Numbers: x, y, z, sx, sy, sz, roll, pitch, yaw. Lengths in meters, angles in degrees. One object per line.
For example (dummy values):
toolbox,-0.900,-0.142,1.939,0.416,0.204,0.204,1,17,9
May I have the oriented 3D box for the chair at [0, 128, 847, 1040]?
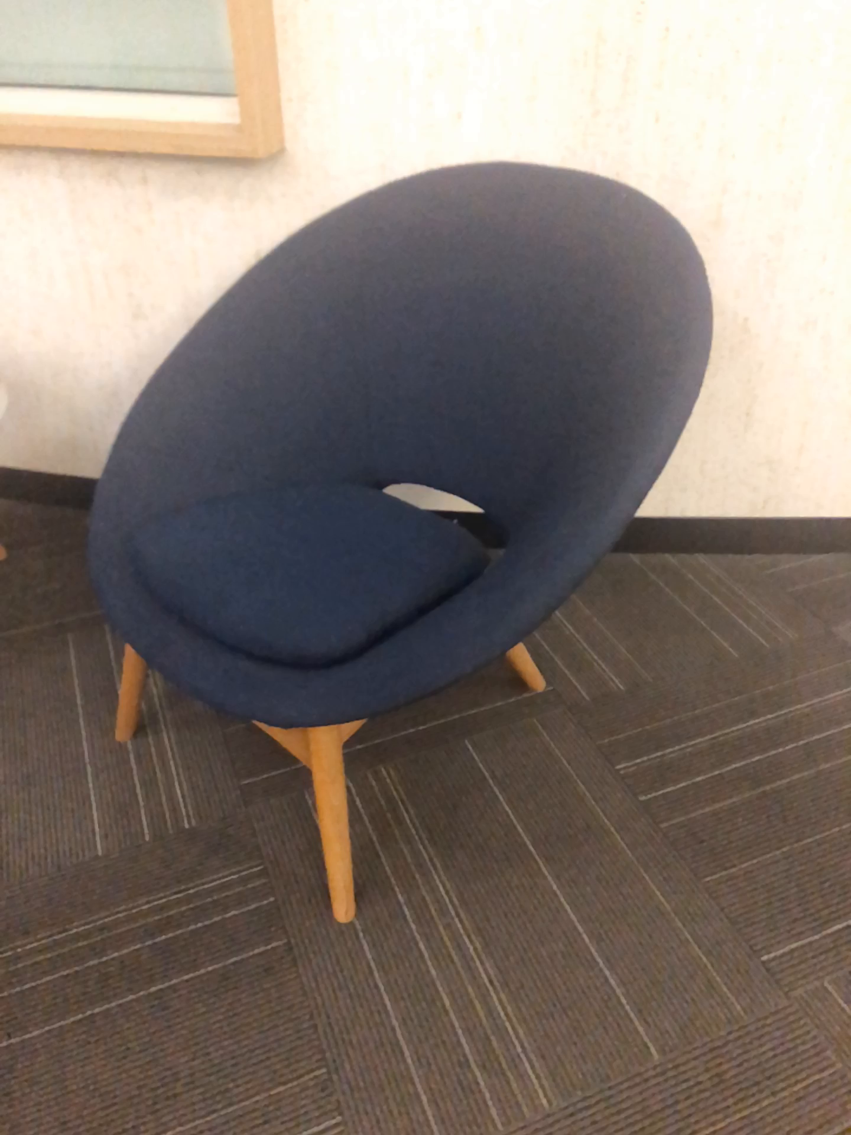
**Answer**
chair,-0.076,-0.137,1.587,1.005,0.992,0.893,-23,39,-38
